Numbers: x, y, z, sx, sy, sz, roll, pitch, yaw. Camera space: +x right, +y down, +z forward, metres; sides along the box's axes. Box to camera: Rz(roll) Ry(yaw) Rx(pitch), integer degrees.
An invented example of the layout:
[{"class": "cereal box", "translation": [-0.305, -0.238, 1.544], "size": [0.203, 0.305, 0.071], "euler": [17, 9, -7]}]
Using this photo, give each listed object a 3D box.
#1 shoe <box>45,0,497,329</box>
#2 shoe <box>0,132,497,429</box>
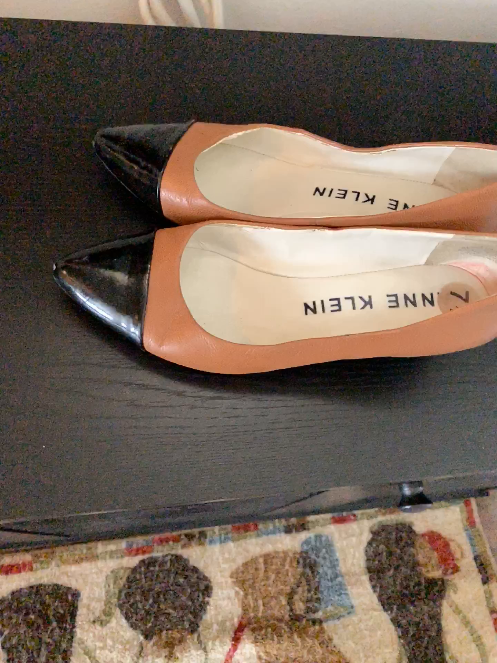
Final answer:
[{"class": "shoe", "translation": [0.033, -0.094, 0.305], "size": [0.260, 0.080, 0.093], "euler": [16, 64, -1]}, {"class": "shoe", "translation": [0.023, -0.017, 0.282], "size": [0.260, 0.099, 0.093], "euler": [7, 65, -5]}]
